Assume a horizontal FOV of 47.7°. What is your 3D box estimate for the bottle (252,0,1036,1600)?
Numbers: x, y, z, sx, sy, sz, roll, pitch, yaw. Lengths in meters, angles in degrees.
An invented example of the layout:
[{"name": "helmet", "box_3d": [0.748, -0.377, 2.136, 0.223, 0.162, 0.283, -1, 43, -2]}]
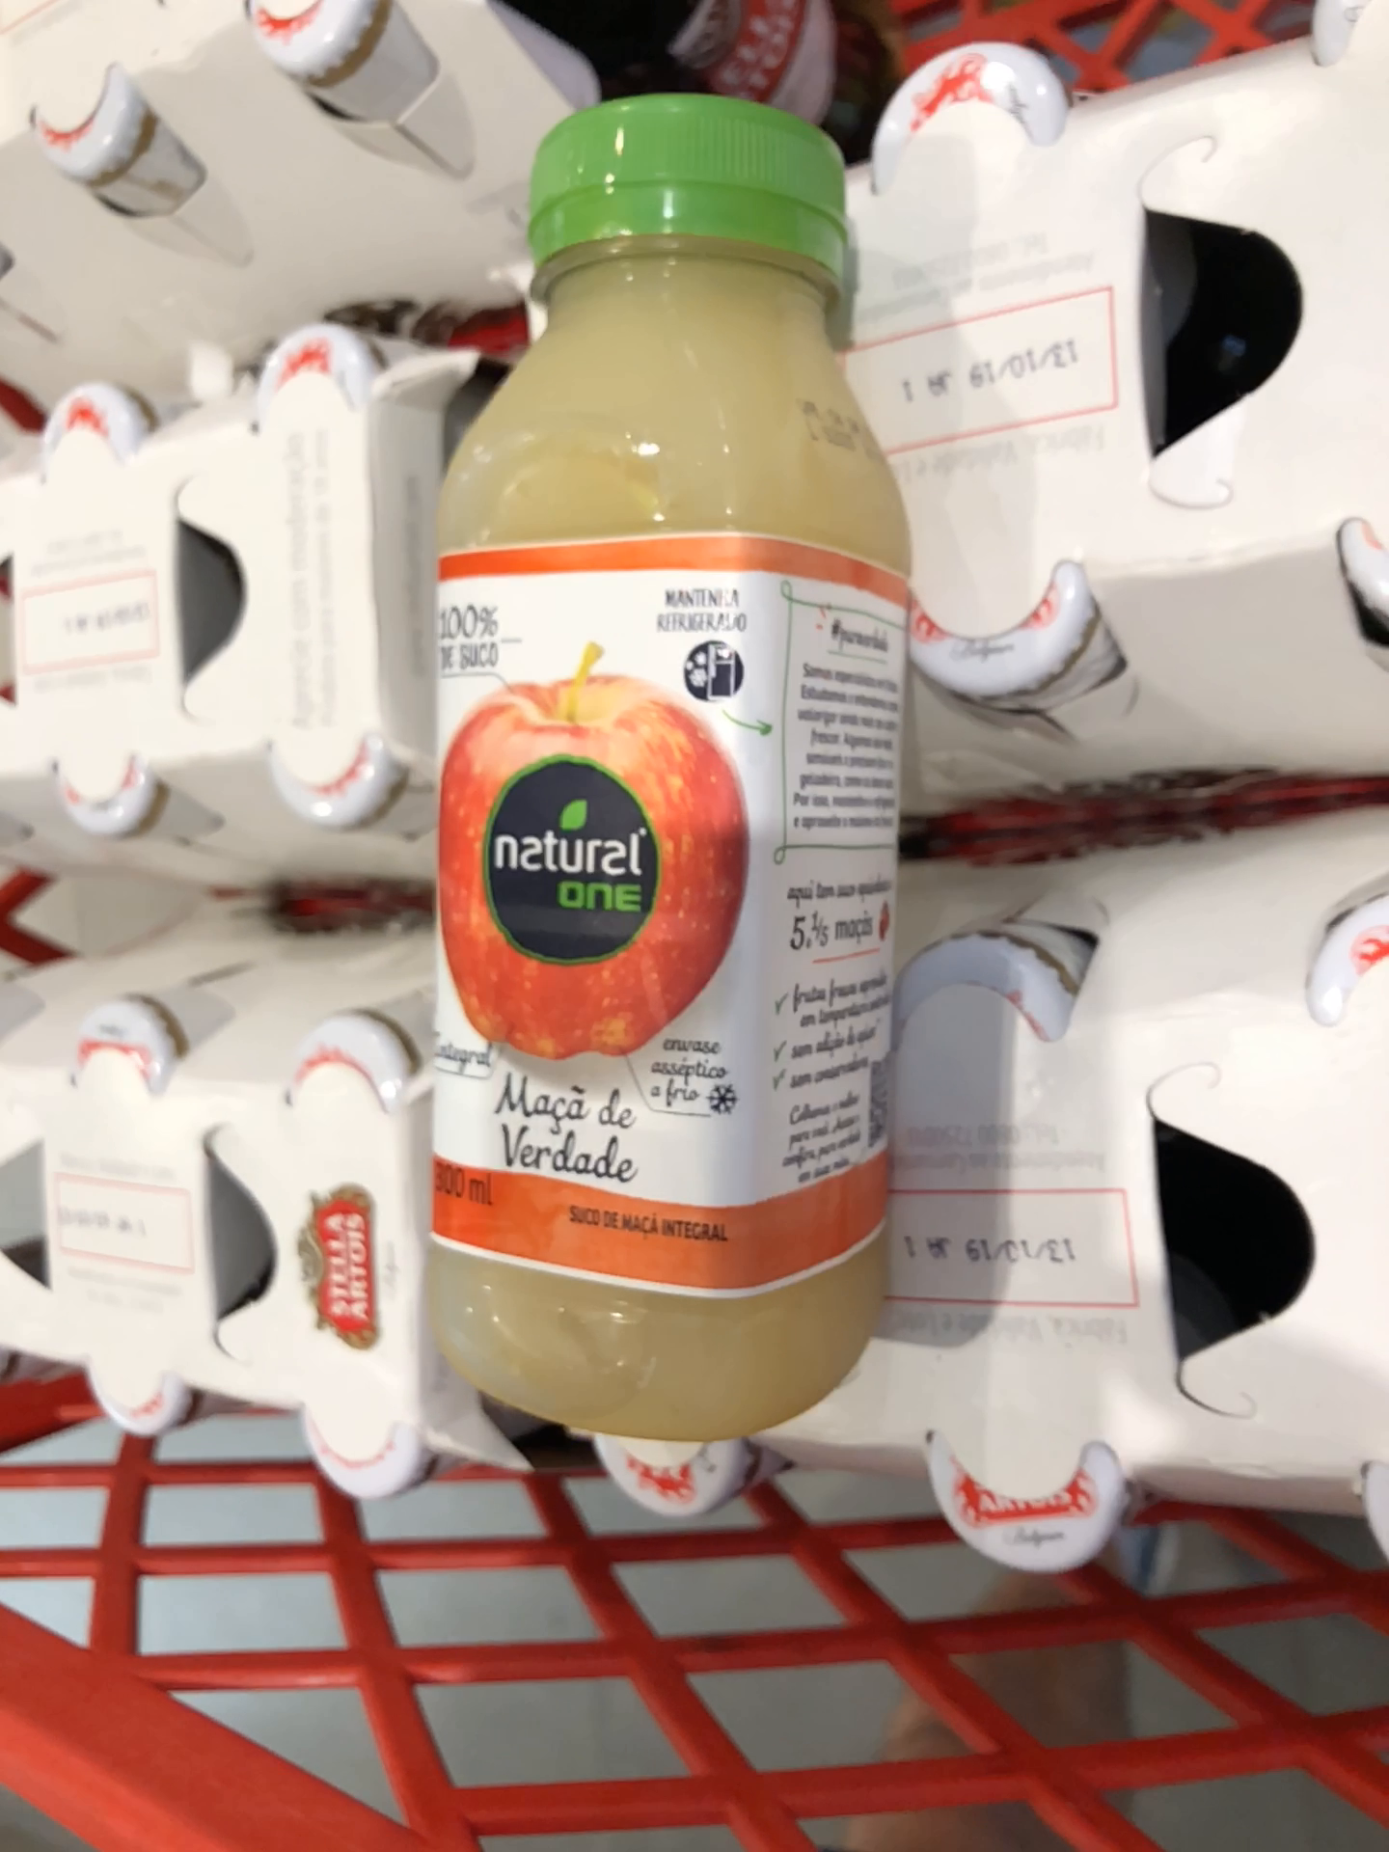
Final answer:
[{"name": "bottle", "box_3d": [-0.005, -0.027, 0.190, 0.060, 0.060, 0.180, 6, 94, 31]}]
